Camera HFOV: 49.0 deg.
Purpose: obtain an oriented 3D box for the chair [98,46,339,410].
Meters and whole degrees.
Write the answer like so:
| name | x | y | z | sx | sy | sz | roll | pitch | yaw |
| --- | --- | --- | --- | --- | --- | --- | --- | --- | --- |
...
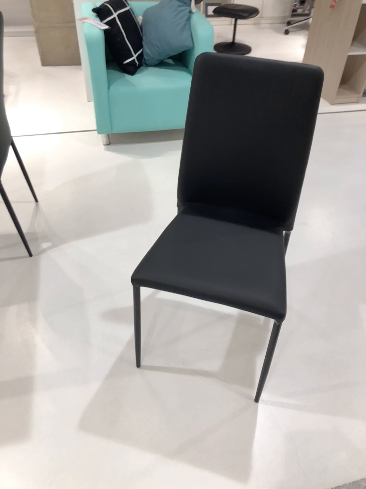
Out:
| name | x | y | z | sx | sy | sz | roll | pitch | yaw |
| --- | --- | --- | --- | --- | --- | --- | --- | --- | --- |
| chair | 0.124 | -0.041 | 1.238 | 0.450 | 0.863 | 0.605 | 11 | 42 | 11 |
